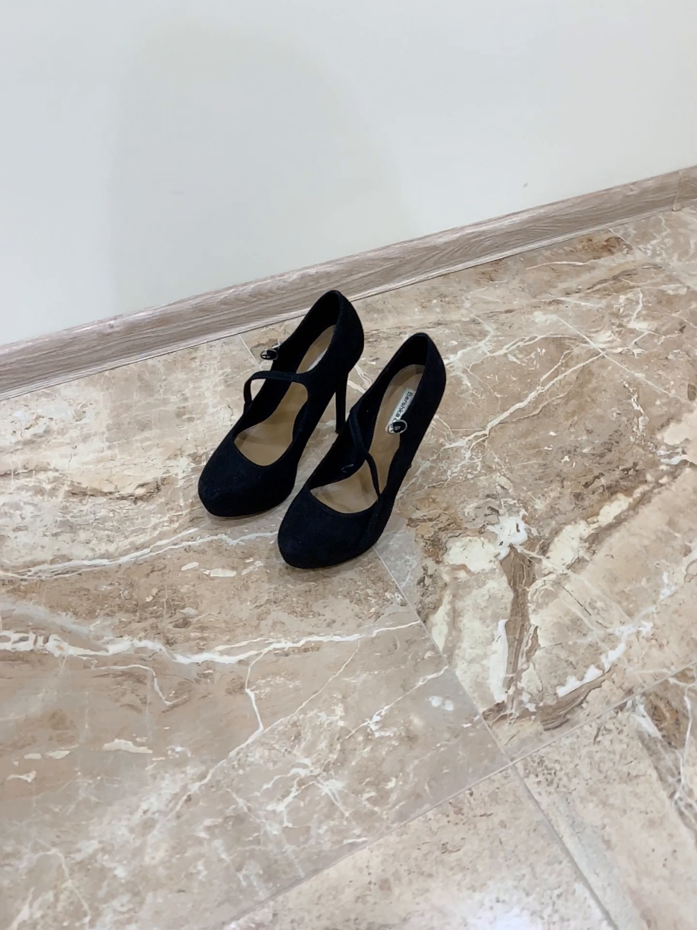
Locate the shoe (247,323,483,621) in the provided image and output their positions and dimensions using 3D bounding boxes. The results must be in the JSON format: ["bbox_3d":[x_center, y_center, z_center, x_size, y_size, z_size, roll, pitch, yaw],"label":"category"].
[{"bbox_3d":[0.018,0.003,0.636,0.080,0.159,0.211,31,54,23],"label":"shoe"}]

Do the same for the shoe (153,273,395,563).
[{"bbox_3d":[-0.060,-0.047,0.675,0.089,0.169,0.211,31,54,23],"label":"shoe"}]
